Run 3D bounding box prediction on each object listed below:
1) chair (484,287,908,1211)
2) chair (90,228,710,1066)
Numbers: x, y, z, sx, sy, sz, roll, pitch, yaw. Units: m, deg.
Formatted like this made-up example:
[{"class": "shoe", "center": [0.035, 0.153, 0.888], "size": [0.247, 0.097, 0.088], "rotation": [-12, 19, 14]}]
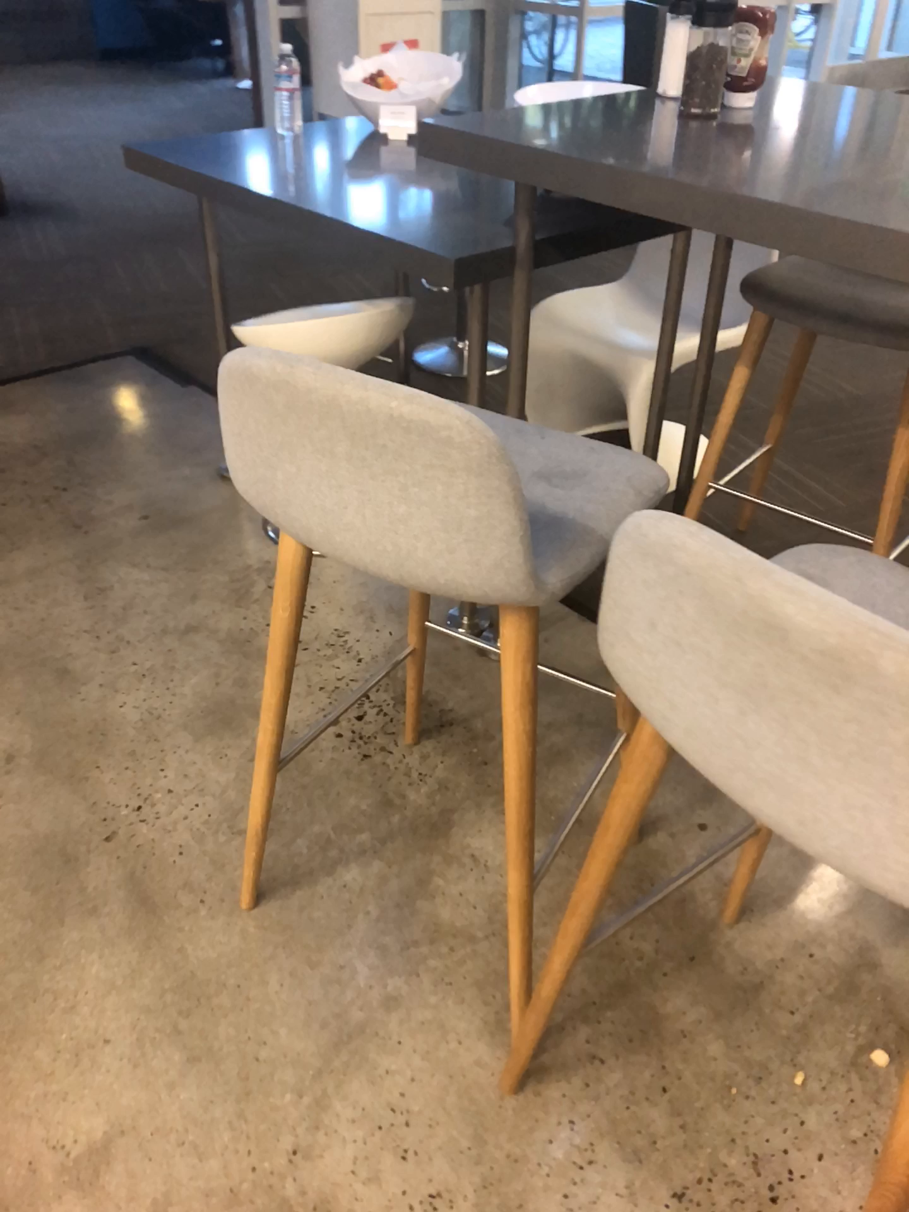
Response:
[{"class": "chair", "center": [0.406, 0.266, 1.026], "size": [0.544, 0.982, 0.501], "rotation": [-27, 39, -35]}, {"class": "chair", "center": [-0.015, 0.031, 1.340], "size": [0.490, 0.892, 0.514], "rotation": [15, 36, 26]}]
